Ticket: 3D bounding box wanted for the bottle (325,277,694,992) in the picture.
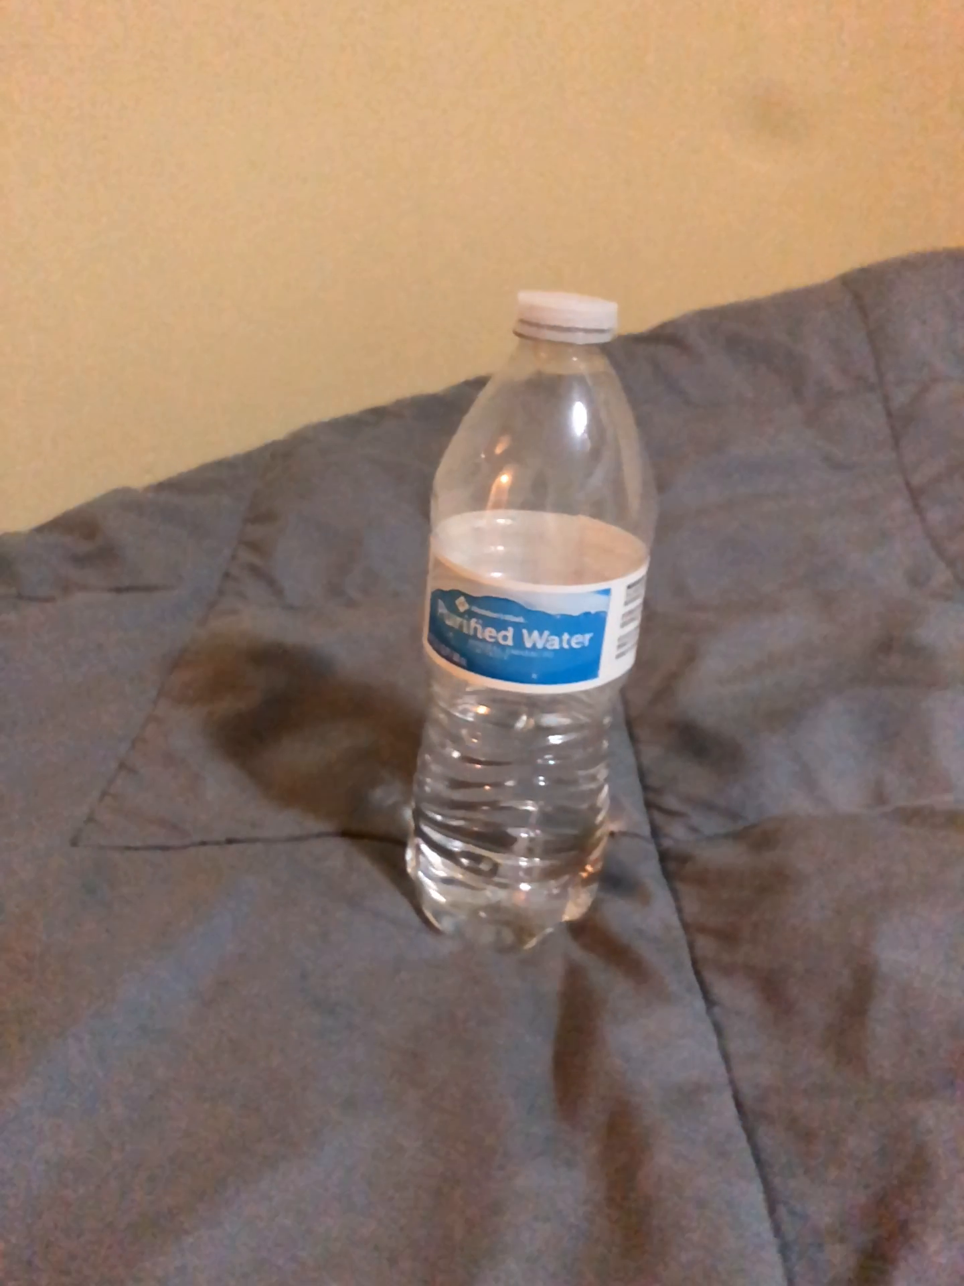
[{"bbox_3d":[0.007,-0.006,0.325,0.080,0.189,0.080,3,23,-1],"label":"bottle"}]
